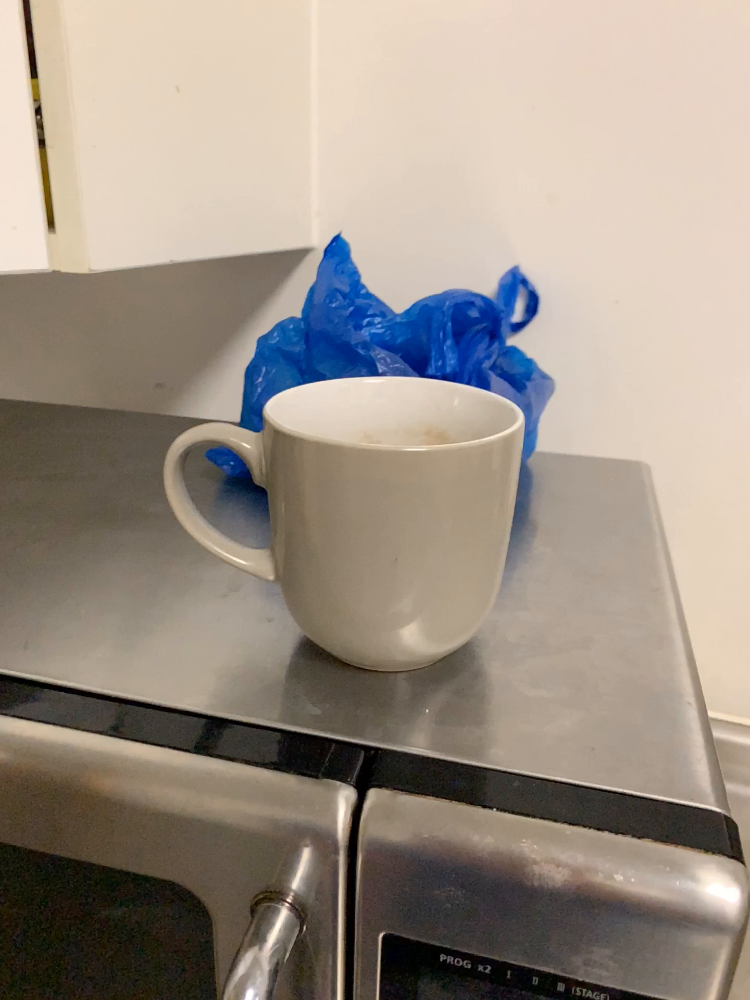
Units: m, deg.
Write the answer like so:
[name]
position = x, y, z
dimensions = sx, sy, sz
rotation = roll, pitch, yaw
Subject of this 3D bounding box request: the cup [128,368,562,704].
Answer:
[cup]
position = -0.002, 0.004, 0.281
dimensions = 0.129, 0.077, 0.094
rotation = 5, 22, 13
